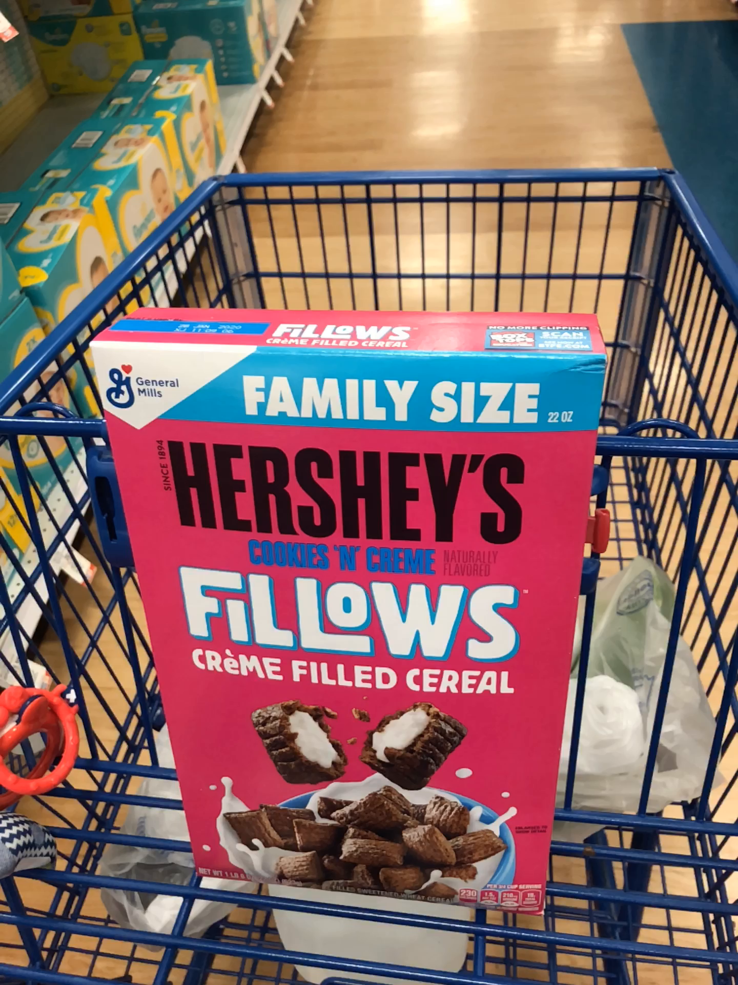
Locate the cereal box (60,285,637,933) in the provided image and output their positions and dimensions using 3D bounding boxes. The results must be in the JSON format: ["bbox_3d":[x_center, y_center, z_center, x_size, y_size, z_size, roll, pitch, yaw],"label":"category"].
[{"bbox_3d":[-0.004,0.064,0.373,0.200,0.300,0.060,2,27,8],"label":"cereal box"}]
